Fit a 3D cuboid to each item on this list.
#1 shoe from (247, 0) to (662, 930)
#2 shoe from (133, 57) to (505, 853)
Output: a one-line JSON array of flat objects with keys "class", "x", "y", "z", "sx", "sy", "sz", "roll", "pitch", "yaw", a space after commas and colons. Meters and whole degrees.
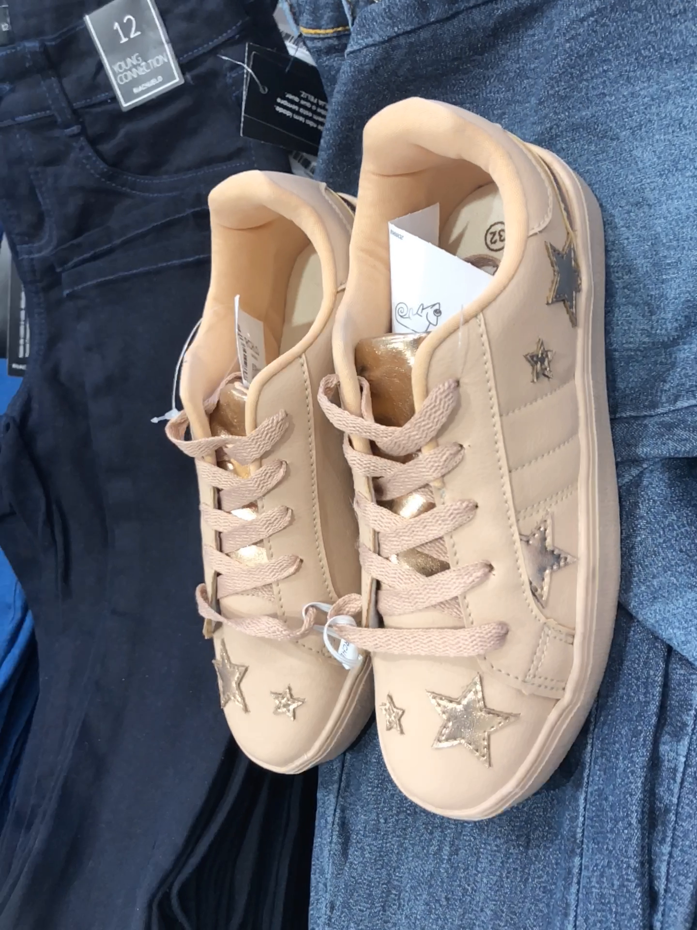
[{"class": "shoe", "x": 0.041, "y": -0.003, "z": 0.264, "sx": 0.090, "sy": 0.090, "sz": 0.250, "roll": -2, "pitch": 81, "yaw": 42}, {"class": "shoe", "x": -0.012, "y": -0.004, "z": 0.306, "sx": 0.090, "sy": 0.090, "sz": 0.250, "roll": 6, "pitch": 92, "yaw": 44}]
